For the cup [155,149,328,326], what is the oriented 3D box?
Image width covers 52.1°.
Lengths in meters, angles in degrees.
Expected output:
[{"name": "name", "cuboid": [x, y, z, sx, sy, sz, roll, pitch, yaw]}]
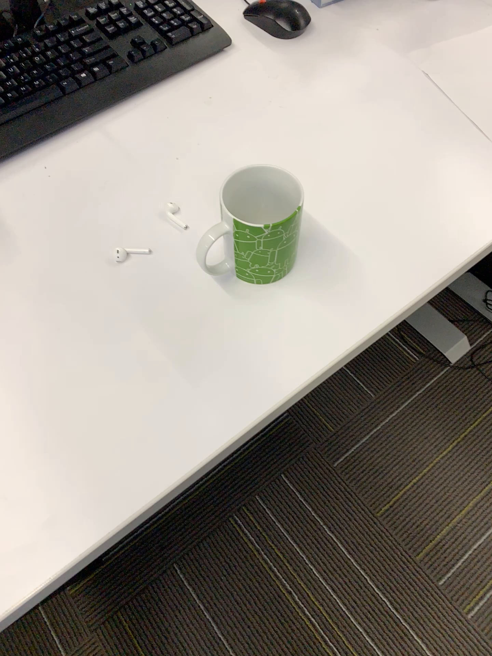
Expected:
[{"name": "cup", "cuboid": [-0.003, -0.089, 0.499, 0.130, 0.090, 0.090, -32, 65, -15]}]
